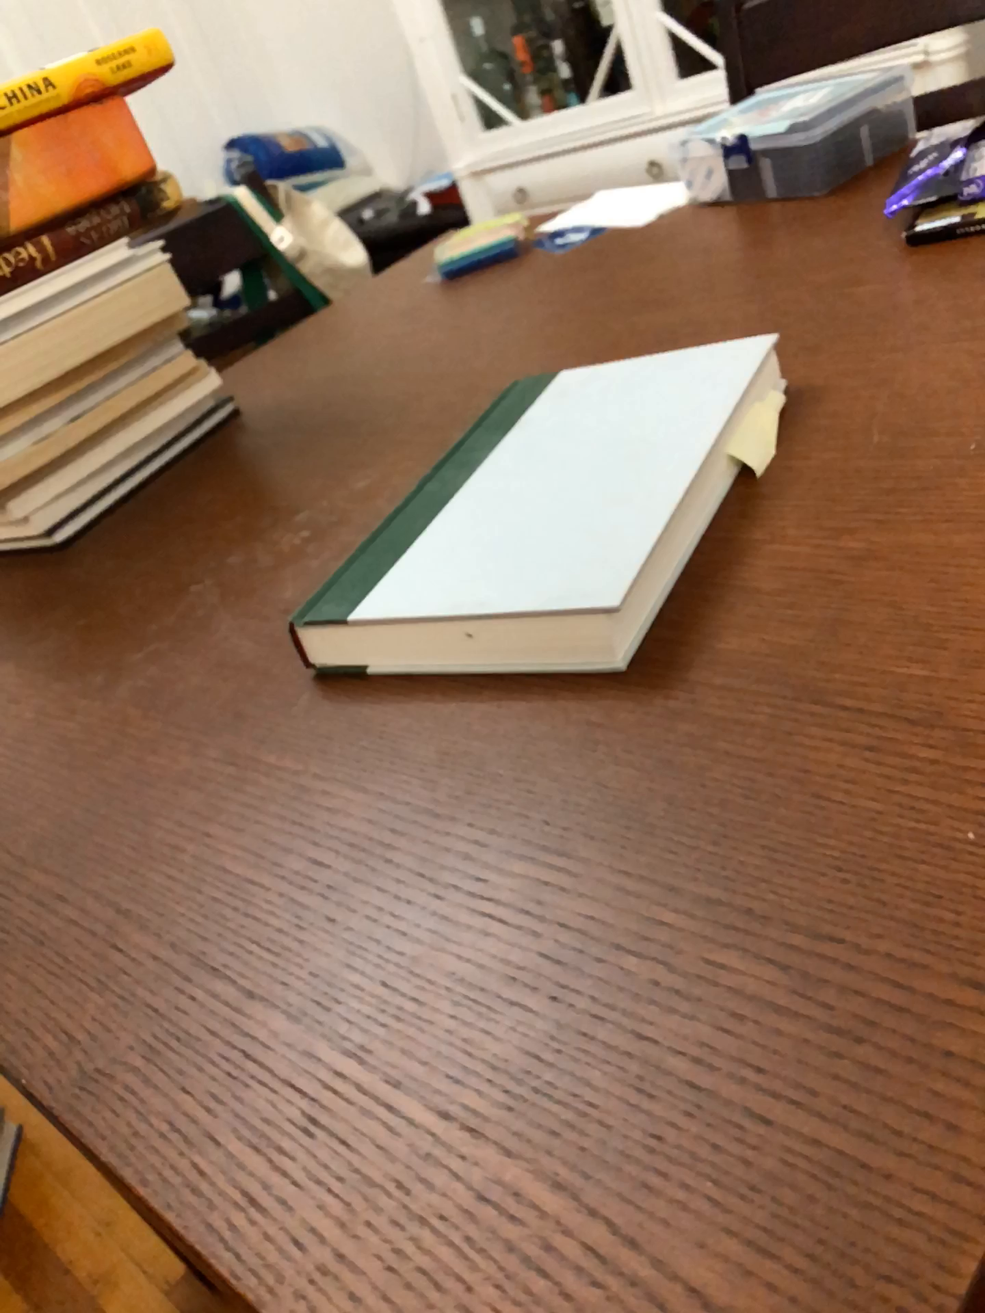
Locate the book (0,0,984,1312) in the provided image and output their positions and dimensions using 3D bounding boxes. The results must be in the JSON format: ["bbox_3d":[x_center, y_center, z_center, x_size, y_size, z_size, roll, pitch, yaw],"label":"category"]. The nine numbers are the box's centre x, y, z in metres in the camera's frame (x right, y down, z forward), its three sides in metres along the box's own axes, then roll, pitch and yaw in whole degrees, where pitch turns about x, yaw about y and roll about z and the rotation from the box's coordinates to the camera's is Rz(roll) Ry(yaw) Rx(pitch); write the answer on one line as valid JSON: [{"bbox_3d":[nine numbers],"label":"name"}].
[{"bbox_3d":[-0.179,-0.209,0.116,1.000,0.995,1.005,-13,31,17],"label":"book"}]
